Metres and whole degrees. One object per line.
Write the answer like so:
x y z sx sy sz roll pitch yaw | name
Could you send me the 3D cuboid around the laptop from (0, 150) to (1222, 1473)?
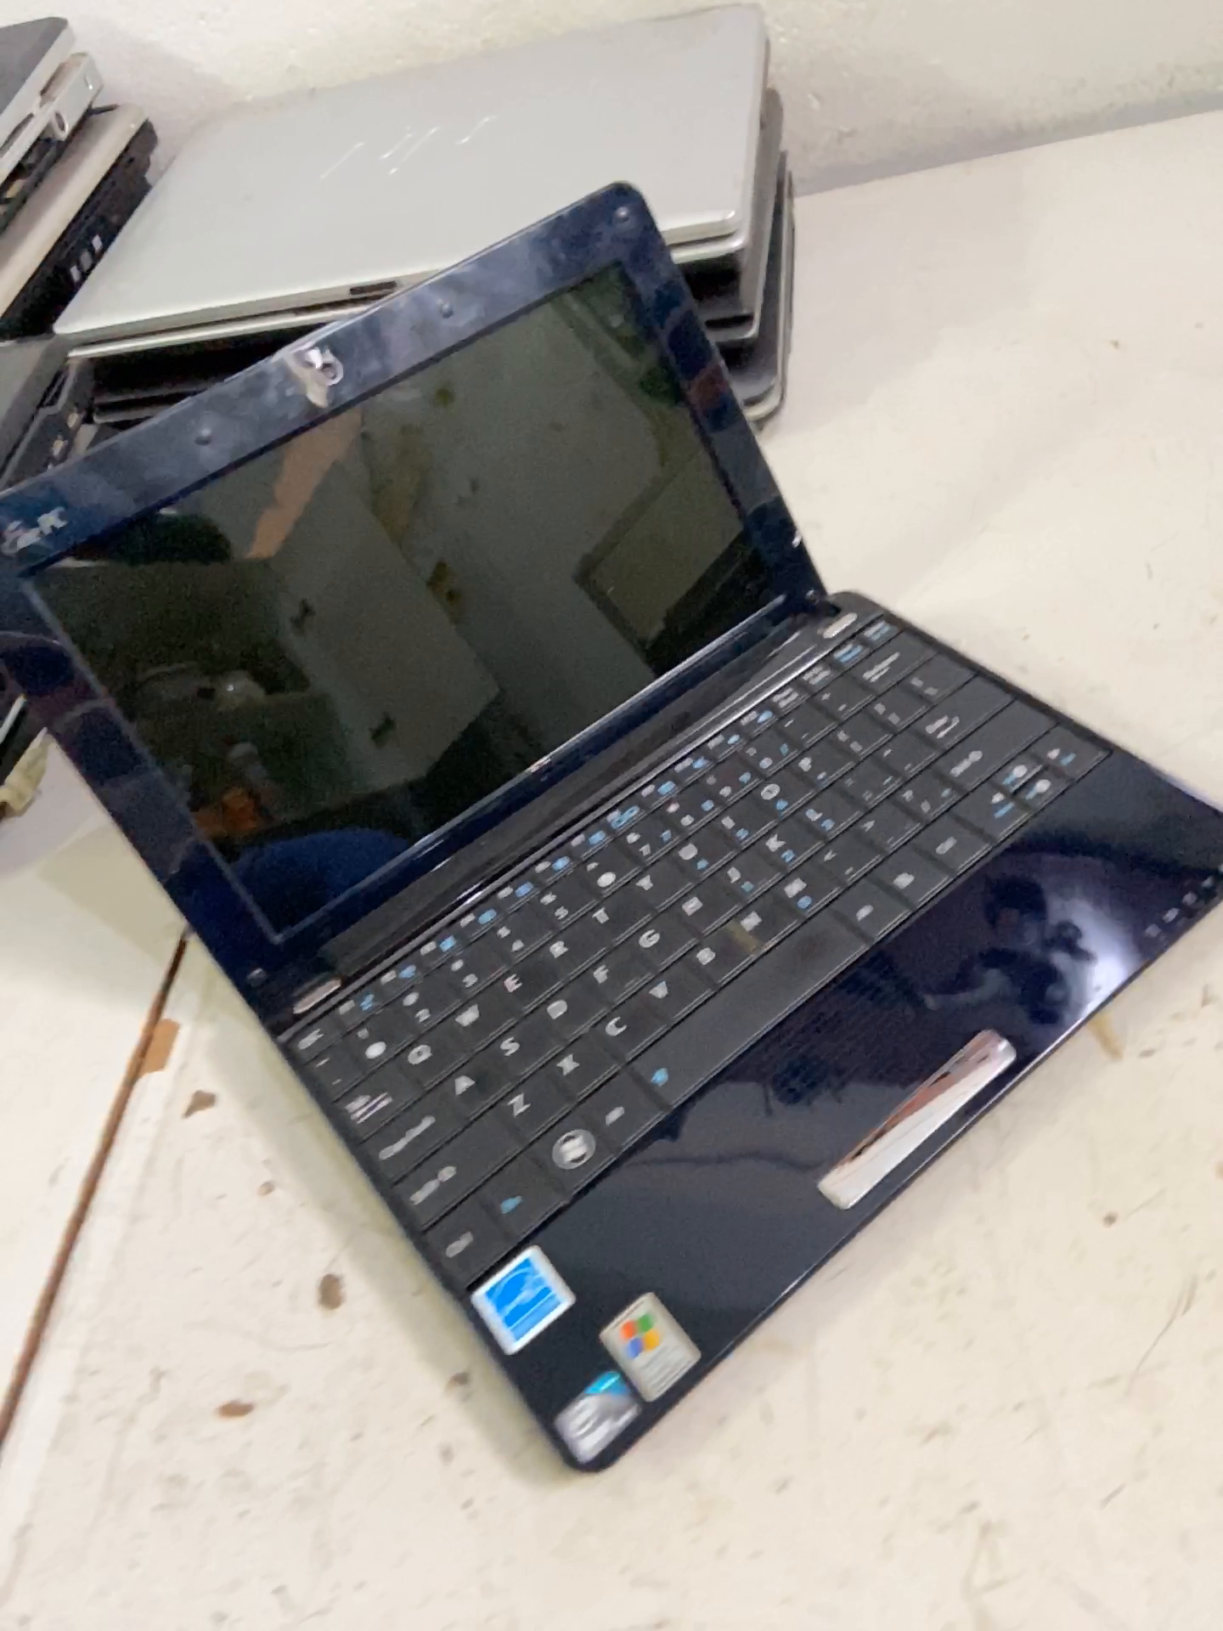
-0.003 -0.040 0.365 0.260 0.133 0.274 -35 51 -17 | laptop
